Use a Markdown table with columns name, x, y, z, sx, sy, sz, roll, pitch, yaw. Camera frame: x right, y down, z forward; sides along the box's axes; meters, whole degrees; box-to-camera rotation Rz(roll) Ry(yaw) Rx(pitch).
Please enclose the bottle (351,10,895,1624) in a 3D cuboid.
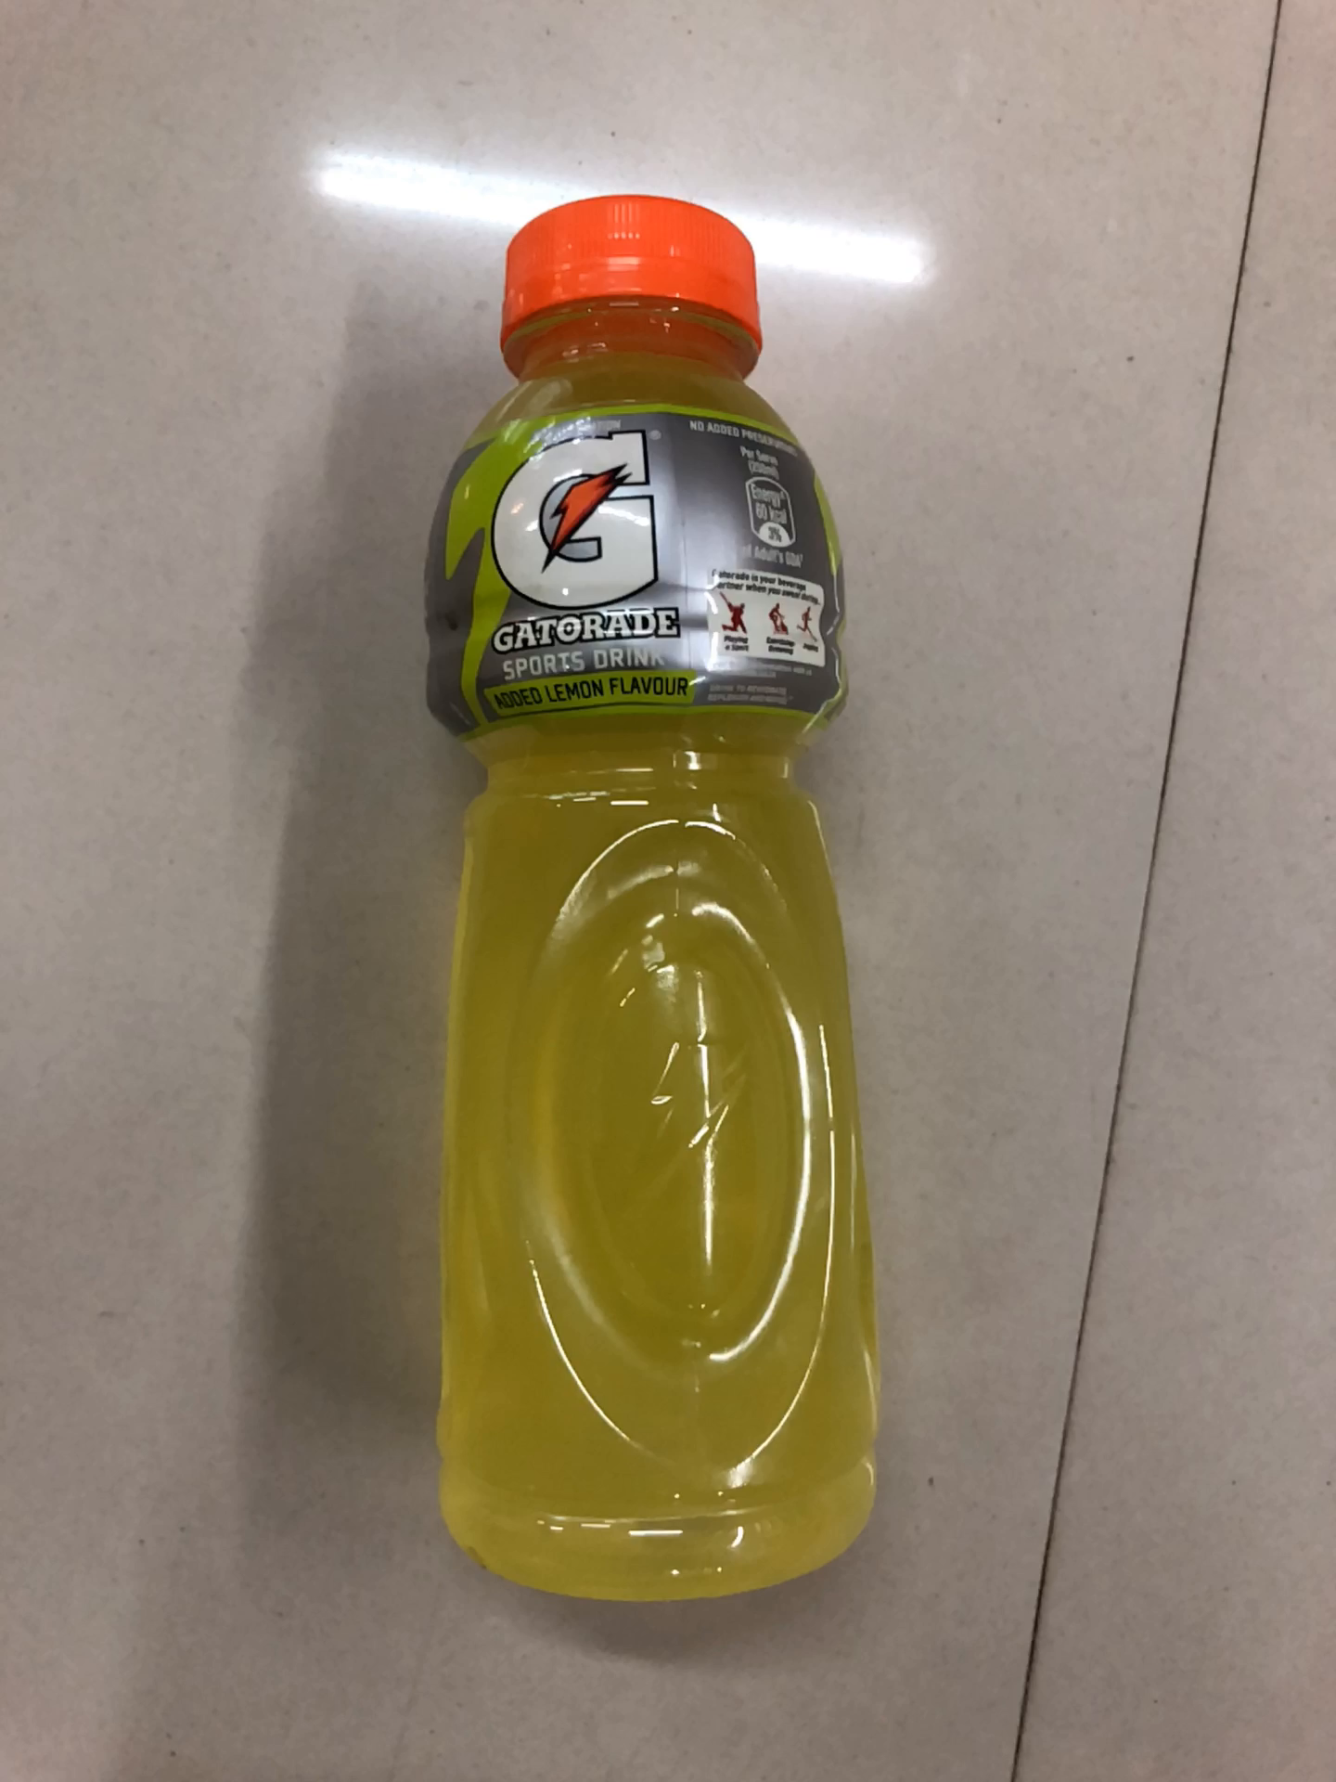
| name | x | y | z | sx | sy | sz | roll | pitch | yaw |
| --- | --- | --- | --- | --- | --- | --- | --- | --- | --- |
| bottle | -0.005 | -0.010 | 0.246 | 0.070 | 0.060 | 0.230 | -2 | 91 | 2 |
